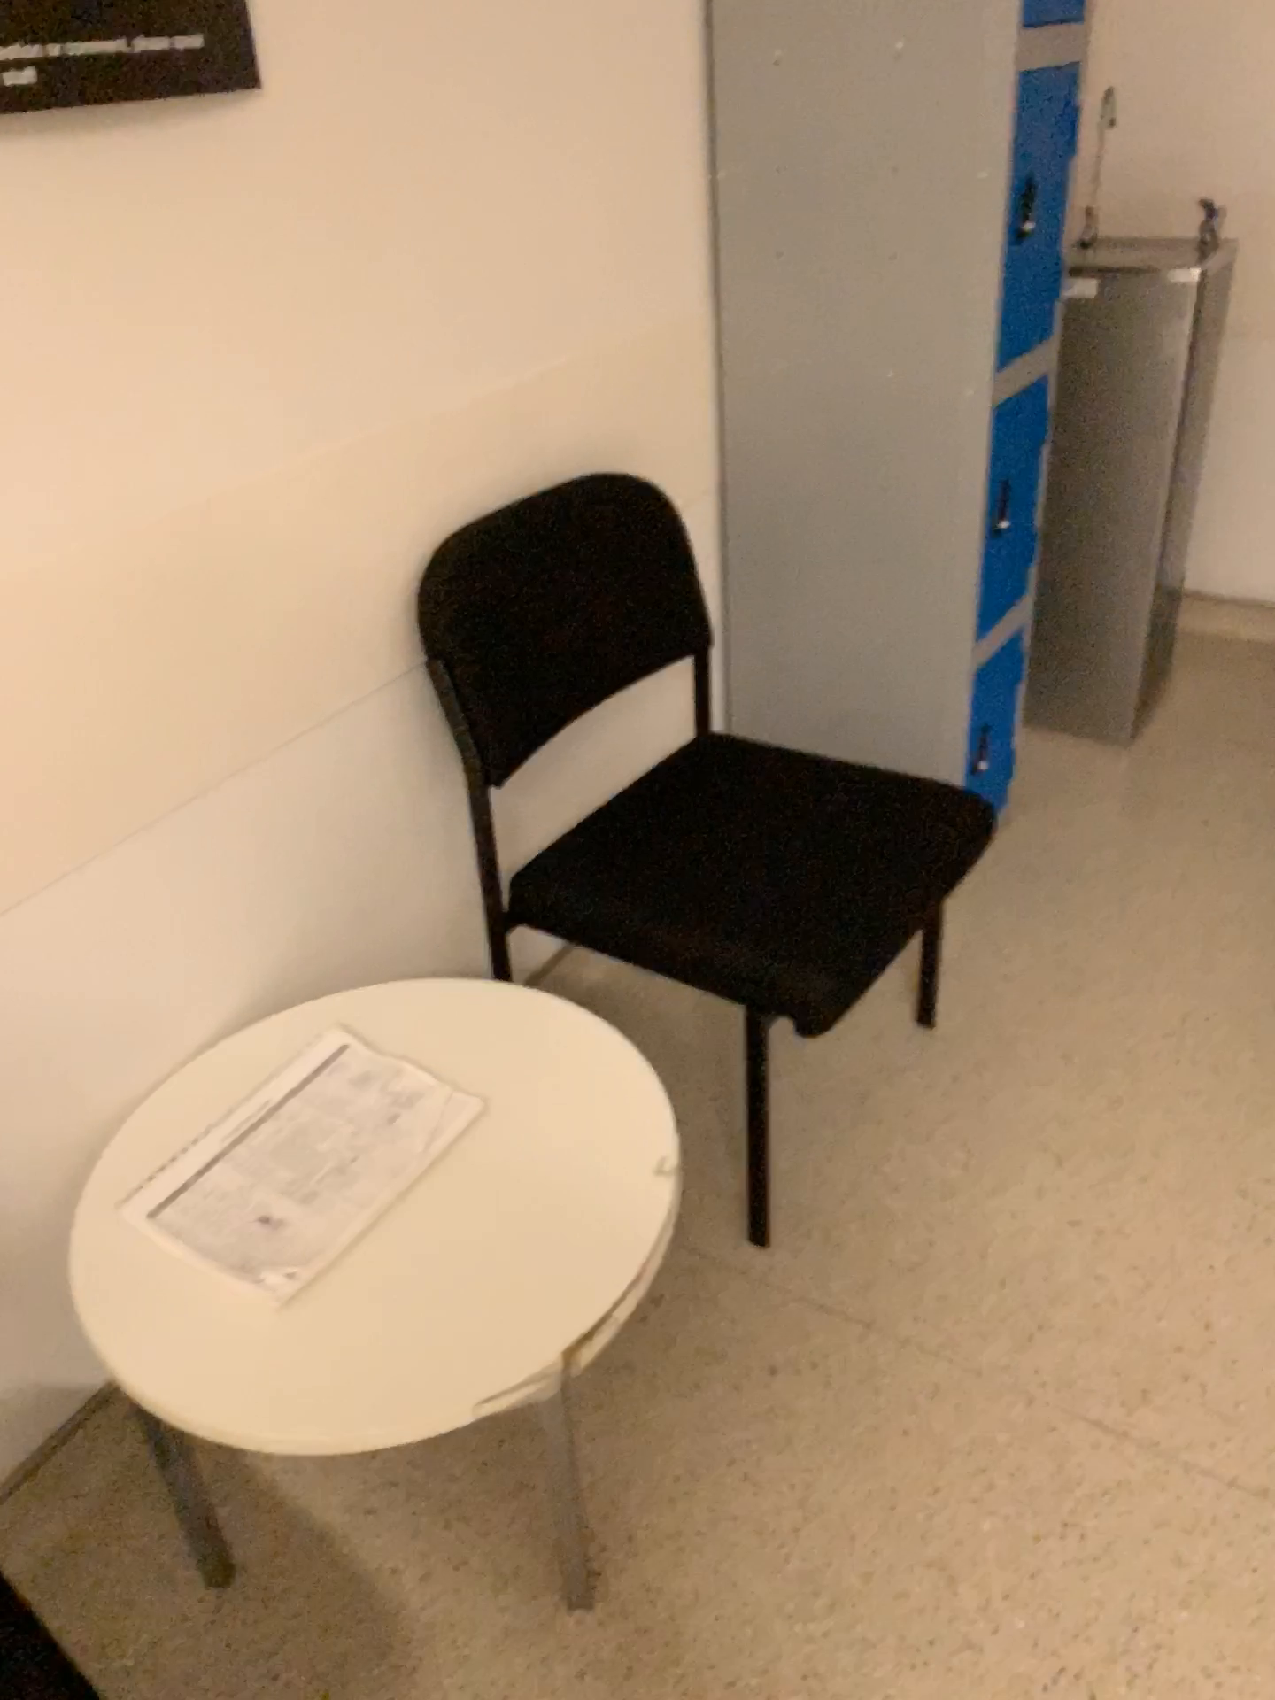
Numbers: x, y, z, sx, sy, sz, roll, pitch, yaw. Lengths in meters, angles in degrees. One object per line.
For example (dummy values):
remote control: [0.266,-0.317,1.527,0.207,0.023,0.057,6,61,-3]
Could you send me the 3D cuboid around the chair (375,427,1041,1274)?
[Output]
chair: [0.115,-0.038,1.712,0.552,0.824,0.553,18,37,32]
